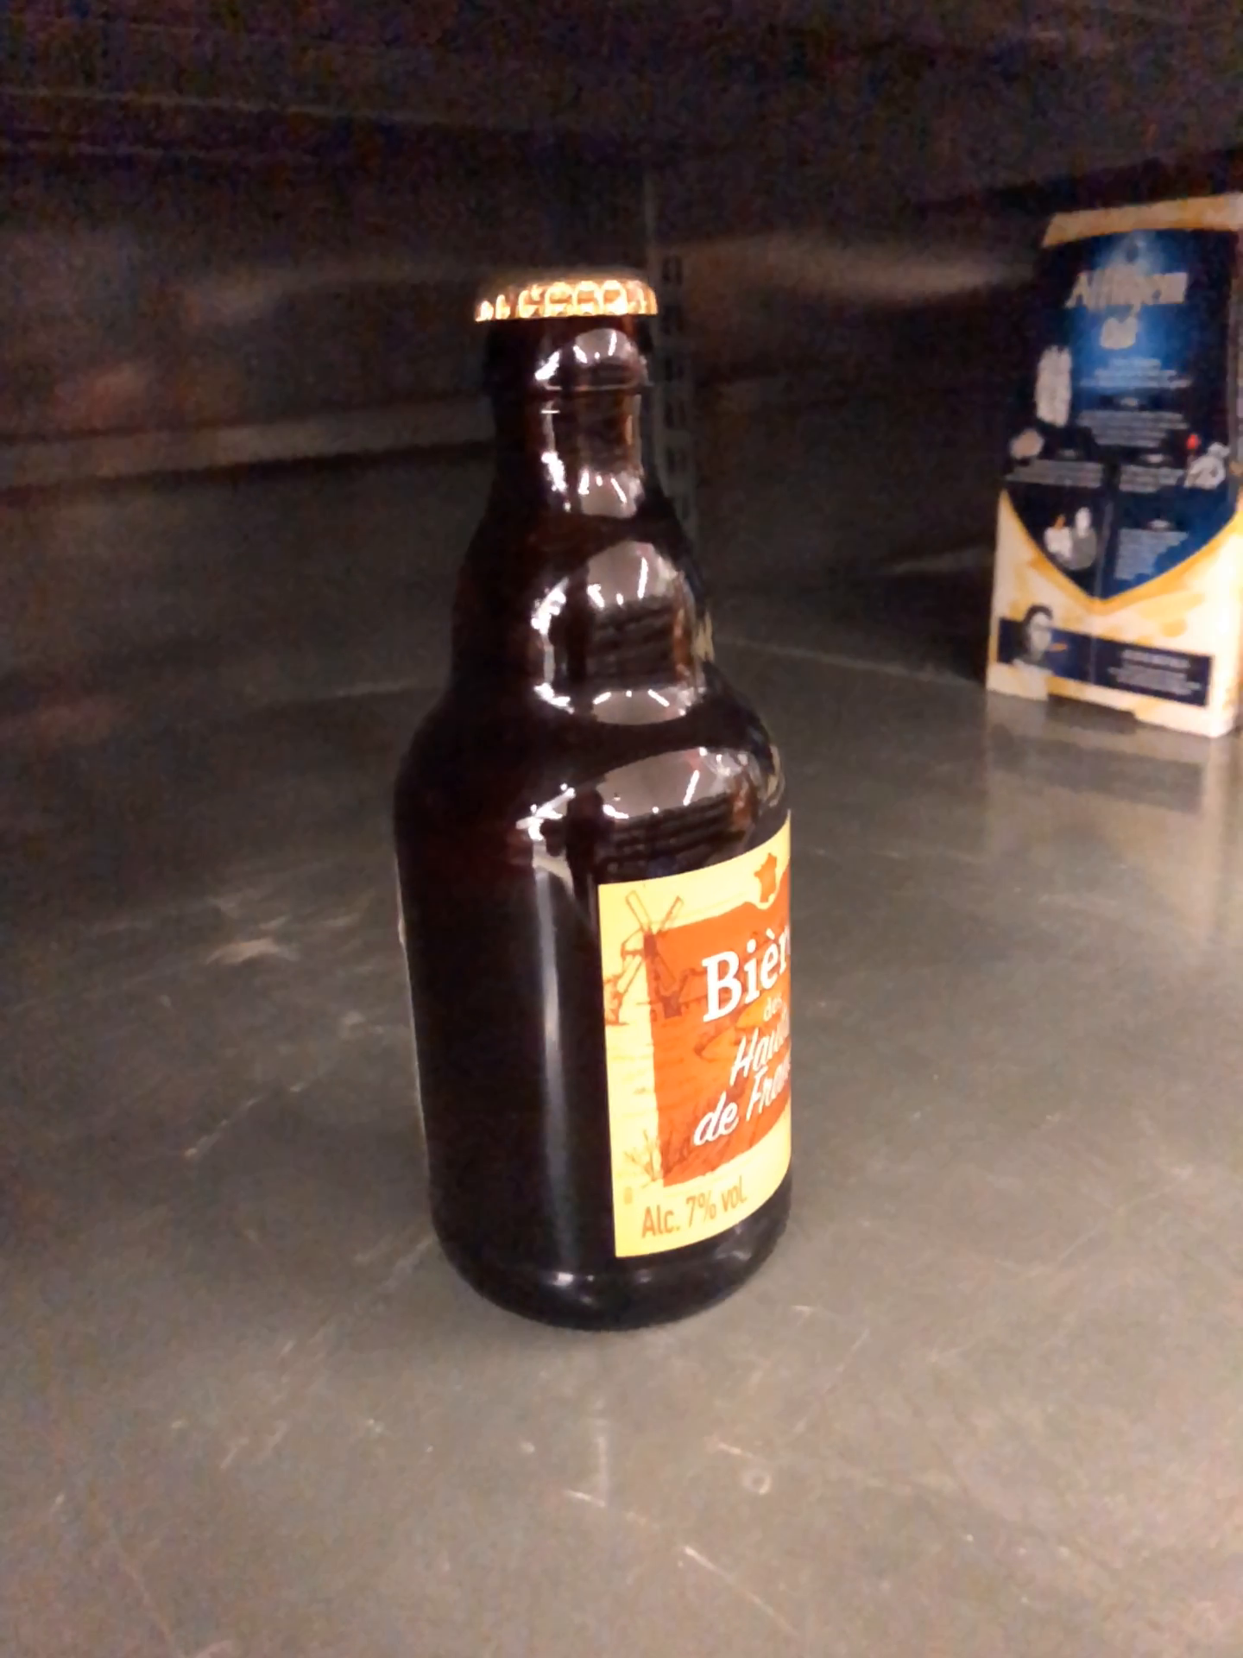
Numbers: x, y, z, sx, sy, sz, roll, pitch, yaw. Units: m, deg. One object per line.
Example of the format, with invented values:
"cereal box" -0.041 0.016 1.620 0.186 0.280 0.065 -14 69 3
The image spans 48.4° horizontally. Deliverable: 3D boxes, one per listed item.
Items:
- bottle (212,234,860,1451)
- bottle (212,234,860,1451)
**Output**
"bottle" -0.007 -0.001 0.239 0.070 0.179 0.070 -3 19 1
"bottle" -0.007 -0.001 0.239 0.070 0.179 0.070 -3 19 1
